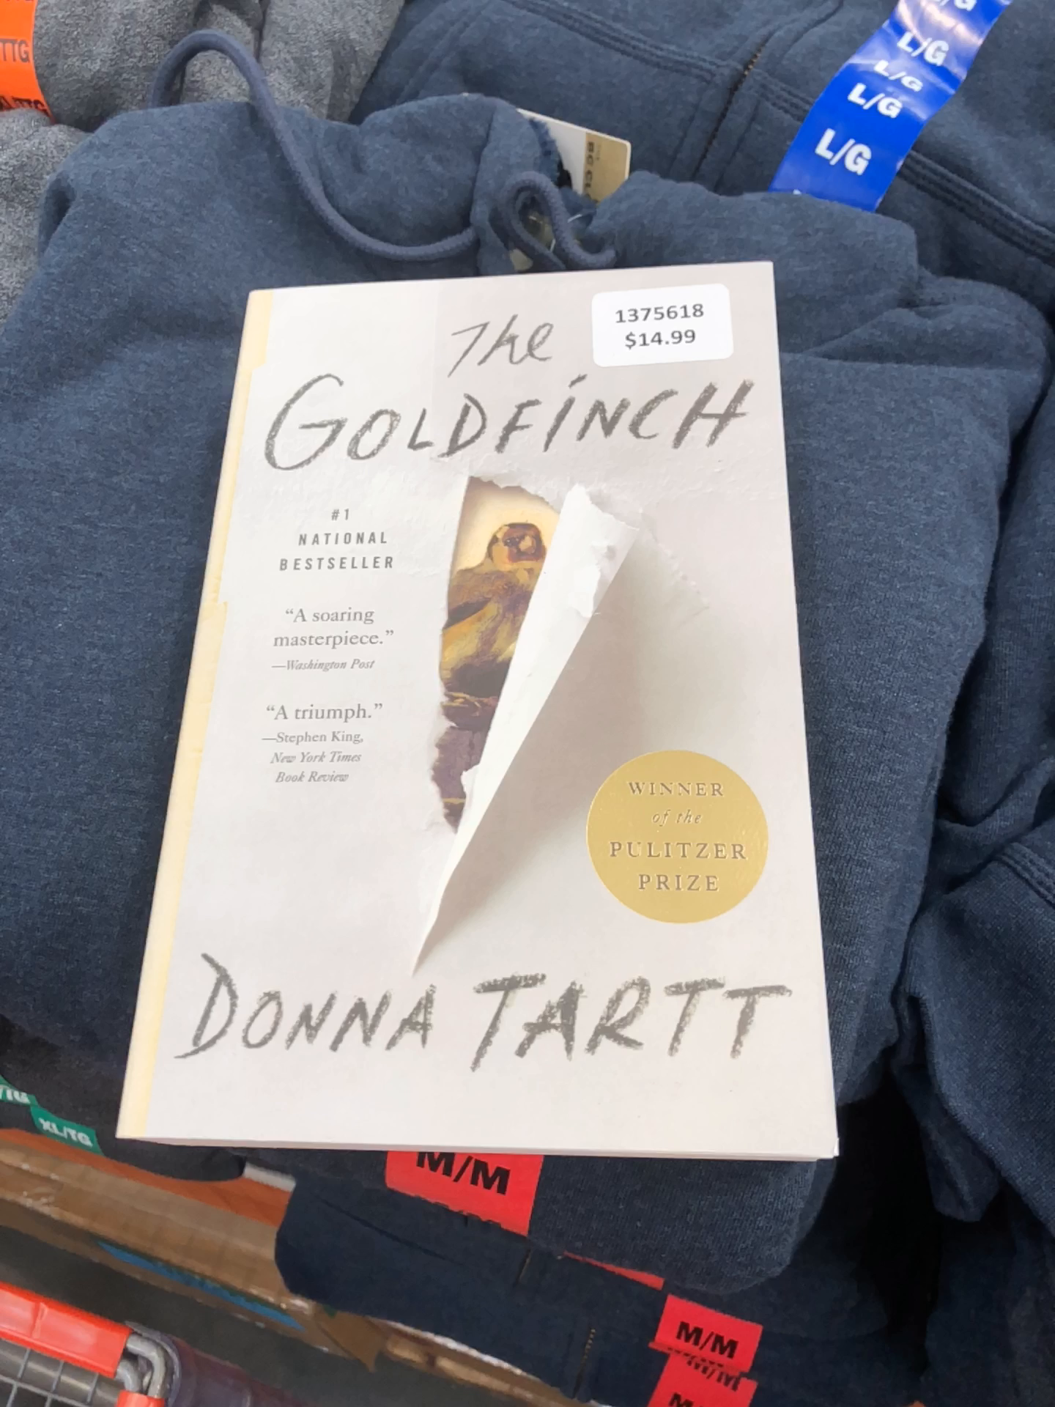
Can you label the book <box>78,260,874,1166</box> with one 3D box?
[{"bbox_3d":[-0.008,-0.006,0.293,0.158,0.041,0.222,-1,66,6],"label":"book"}]
